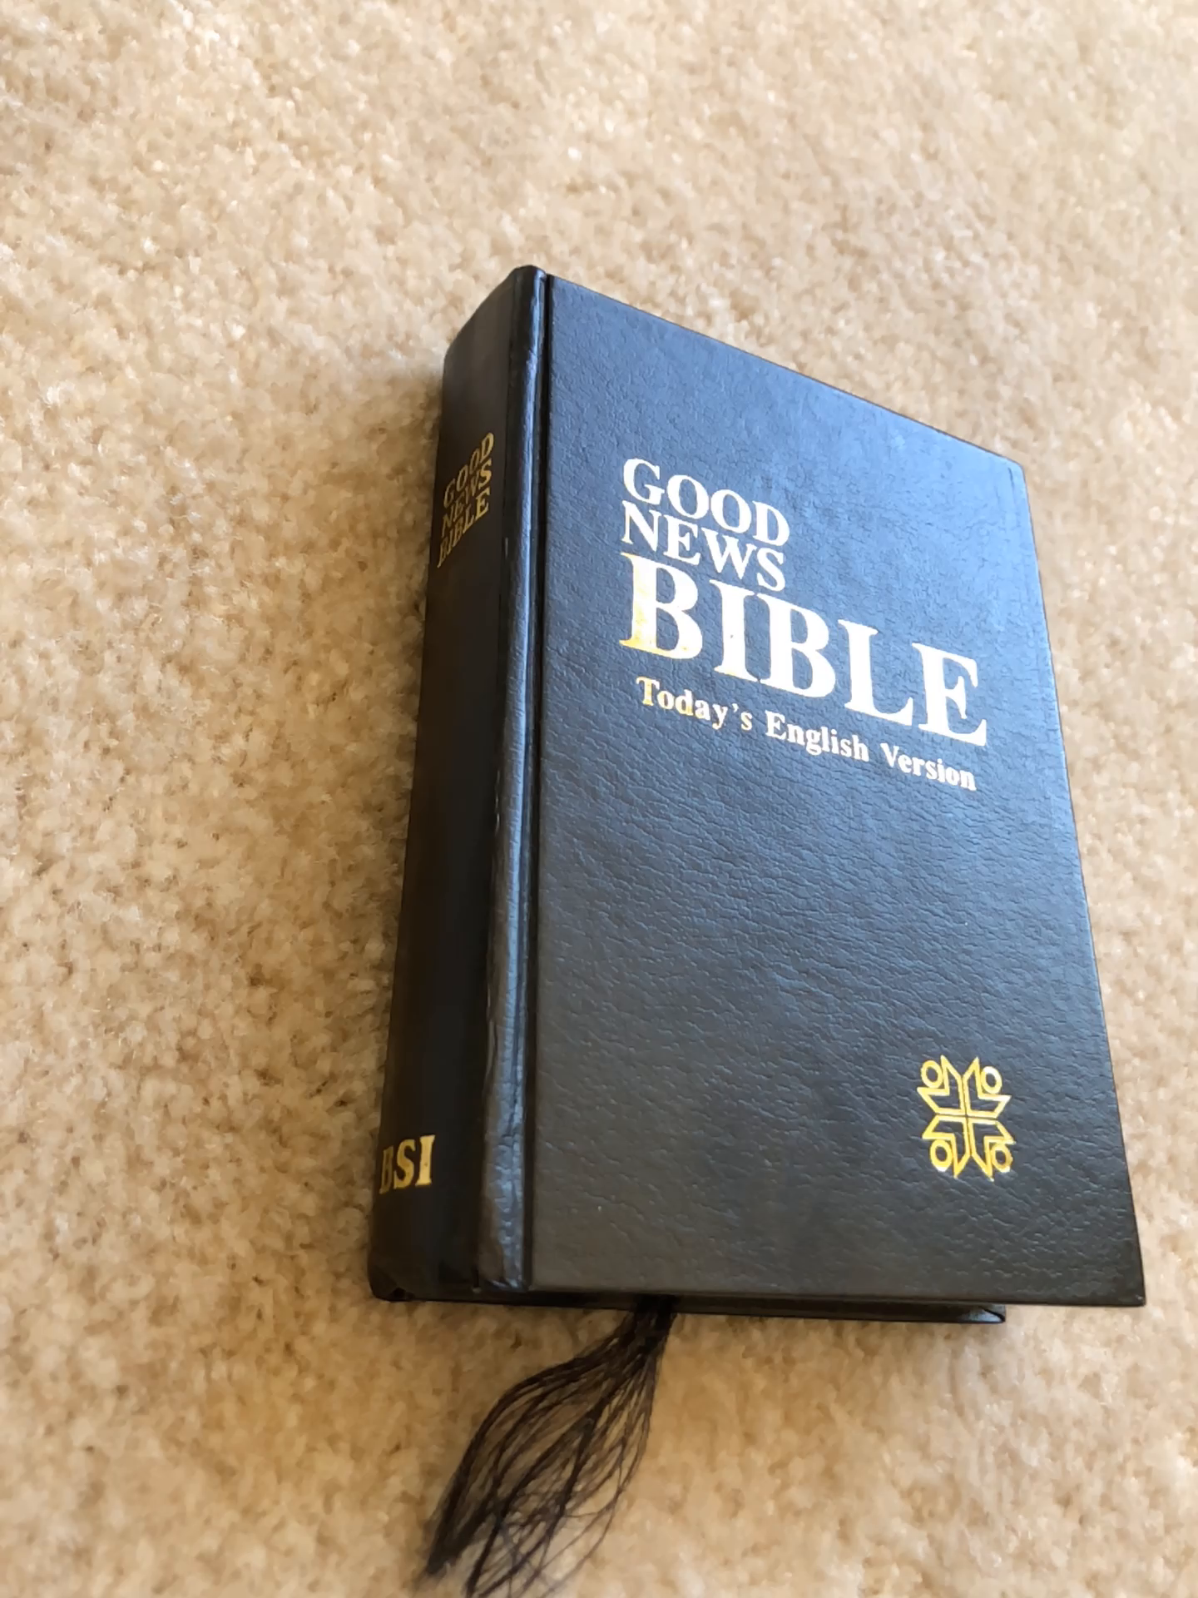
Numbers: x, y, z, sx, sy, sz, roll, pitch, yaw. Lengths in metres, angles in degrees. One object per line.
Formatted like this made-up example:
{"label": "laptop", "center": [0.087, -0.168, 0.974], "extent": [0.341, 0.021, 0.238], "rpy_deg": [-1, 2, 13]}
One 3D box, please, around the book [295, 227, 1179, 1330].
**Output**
{"label": "book", "center": [0.024, 0.000, 0.224], "extent": [0.124, 0.040, 0.160], "rpy_deg": [13, 63, -25]}
